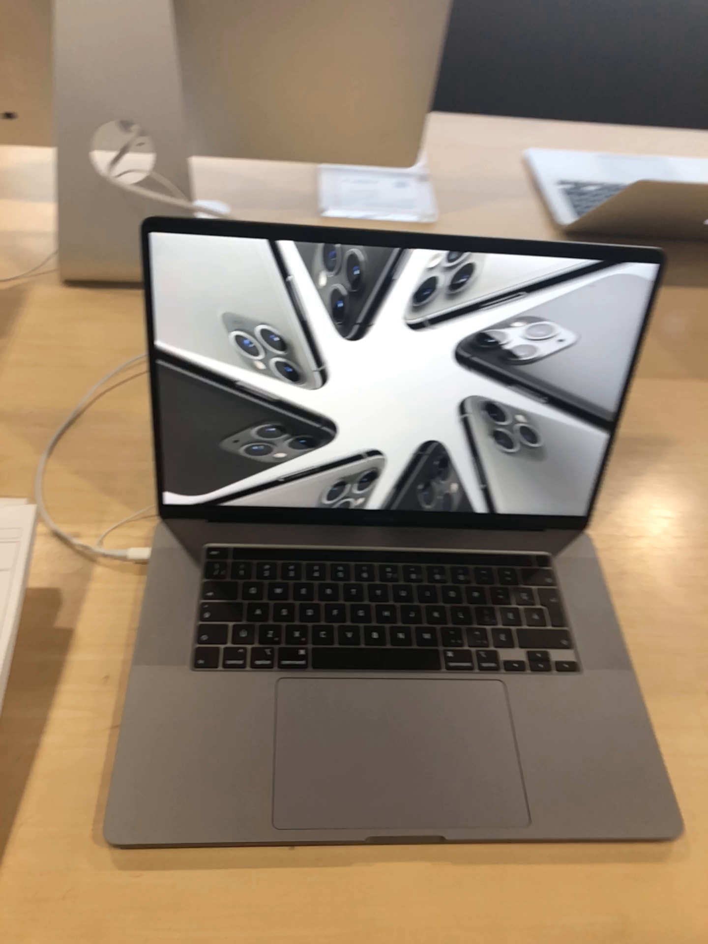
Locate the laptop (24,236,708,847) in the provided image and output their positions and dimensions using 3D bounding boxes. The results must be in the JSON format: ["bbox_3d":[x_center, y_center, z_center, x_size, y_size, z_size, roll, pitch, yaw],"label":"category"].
[{"bbox_3d":[0.037,0.035,0.488,0.343,0.227,0.292,1,46,-5],"label":"laptop"}]
